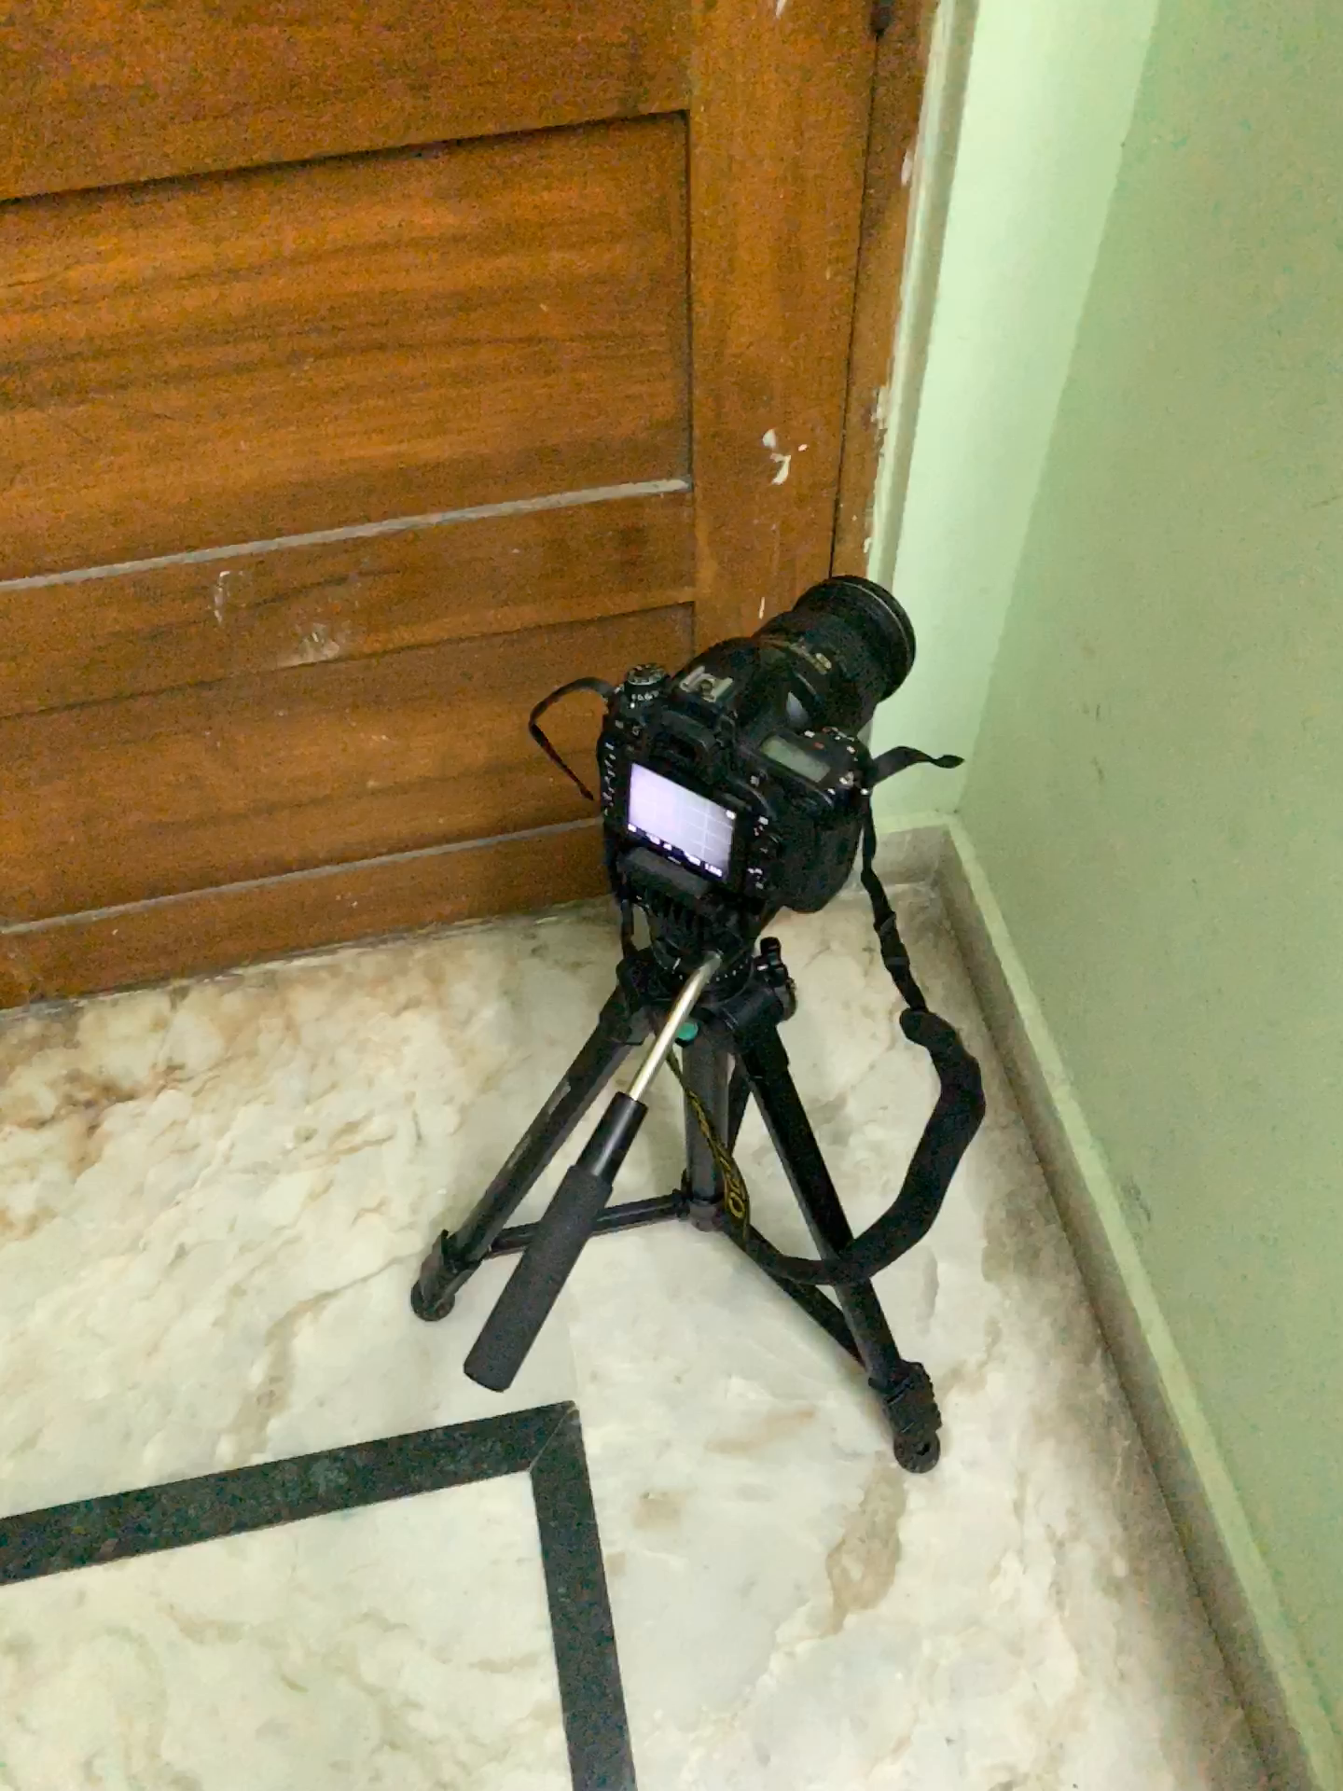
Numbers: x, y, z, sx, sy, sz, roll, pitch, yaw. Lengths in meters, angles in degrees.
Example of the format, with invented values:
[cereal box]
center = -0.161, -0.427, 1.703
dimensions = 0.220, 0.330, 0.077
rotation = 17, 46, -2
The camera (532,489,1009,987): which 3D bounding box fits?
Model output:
[camera]
center = 0.056, -0.091, 0.754
dimensions = 0.175, 0.128, 0.189
rotation = 26, 59, 19
